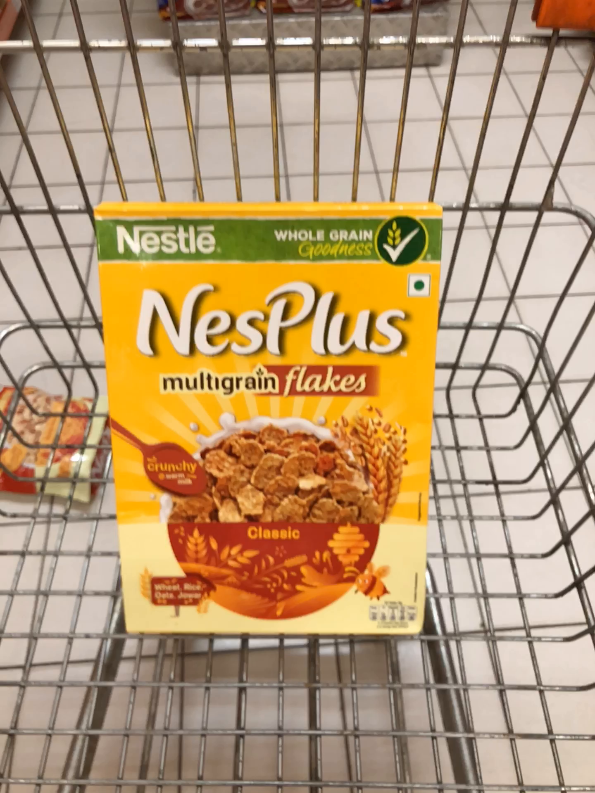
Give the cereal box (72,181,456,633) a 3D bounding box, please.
[{"bbox_3d":[-0.017,0.005,0.402,0.190,0.249,0.090,0,13,0],"label":"cereal box"}]
